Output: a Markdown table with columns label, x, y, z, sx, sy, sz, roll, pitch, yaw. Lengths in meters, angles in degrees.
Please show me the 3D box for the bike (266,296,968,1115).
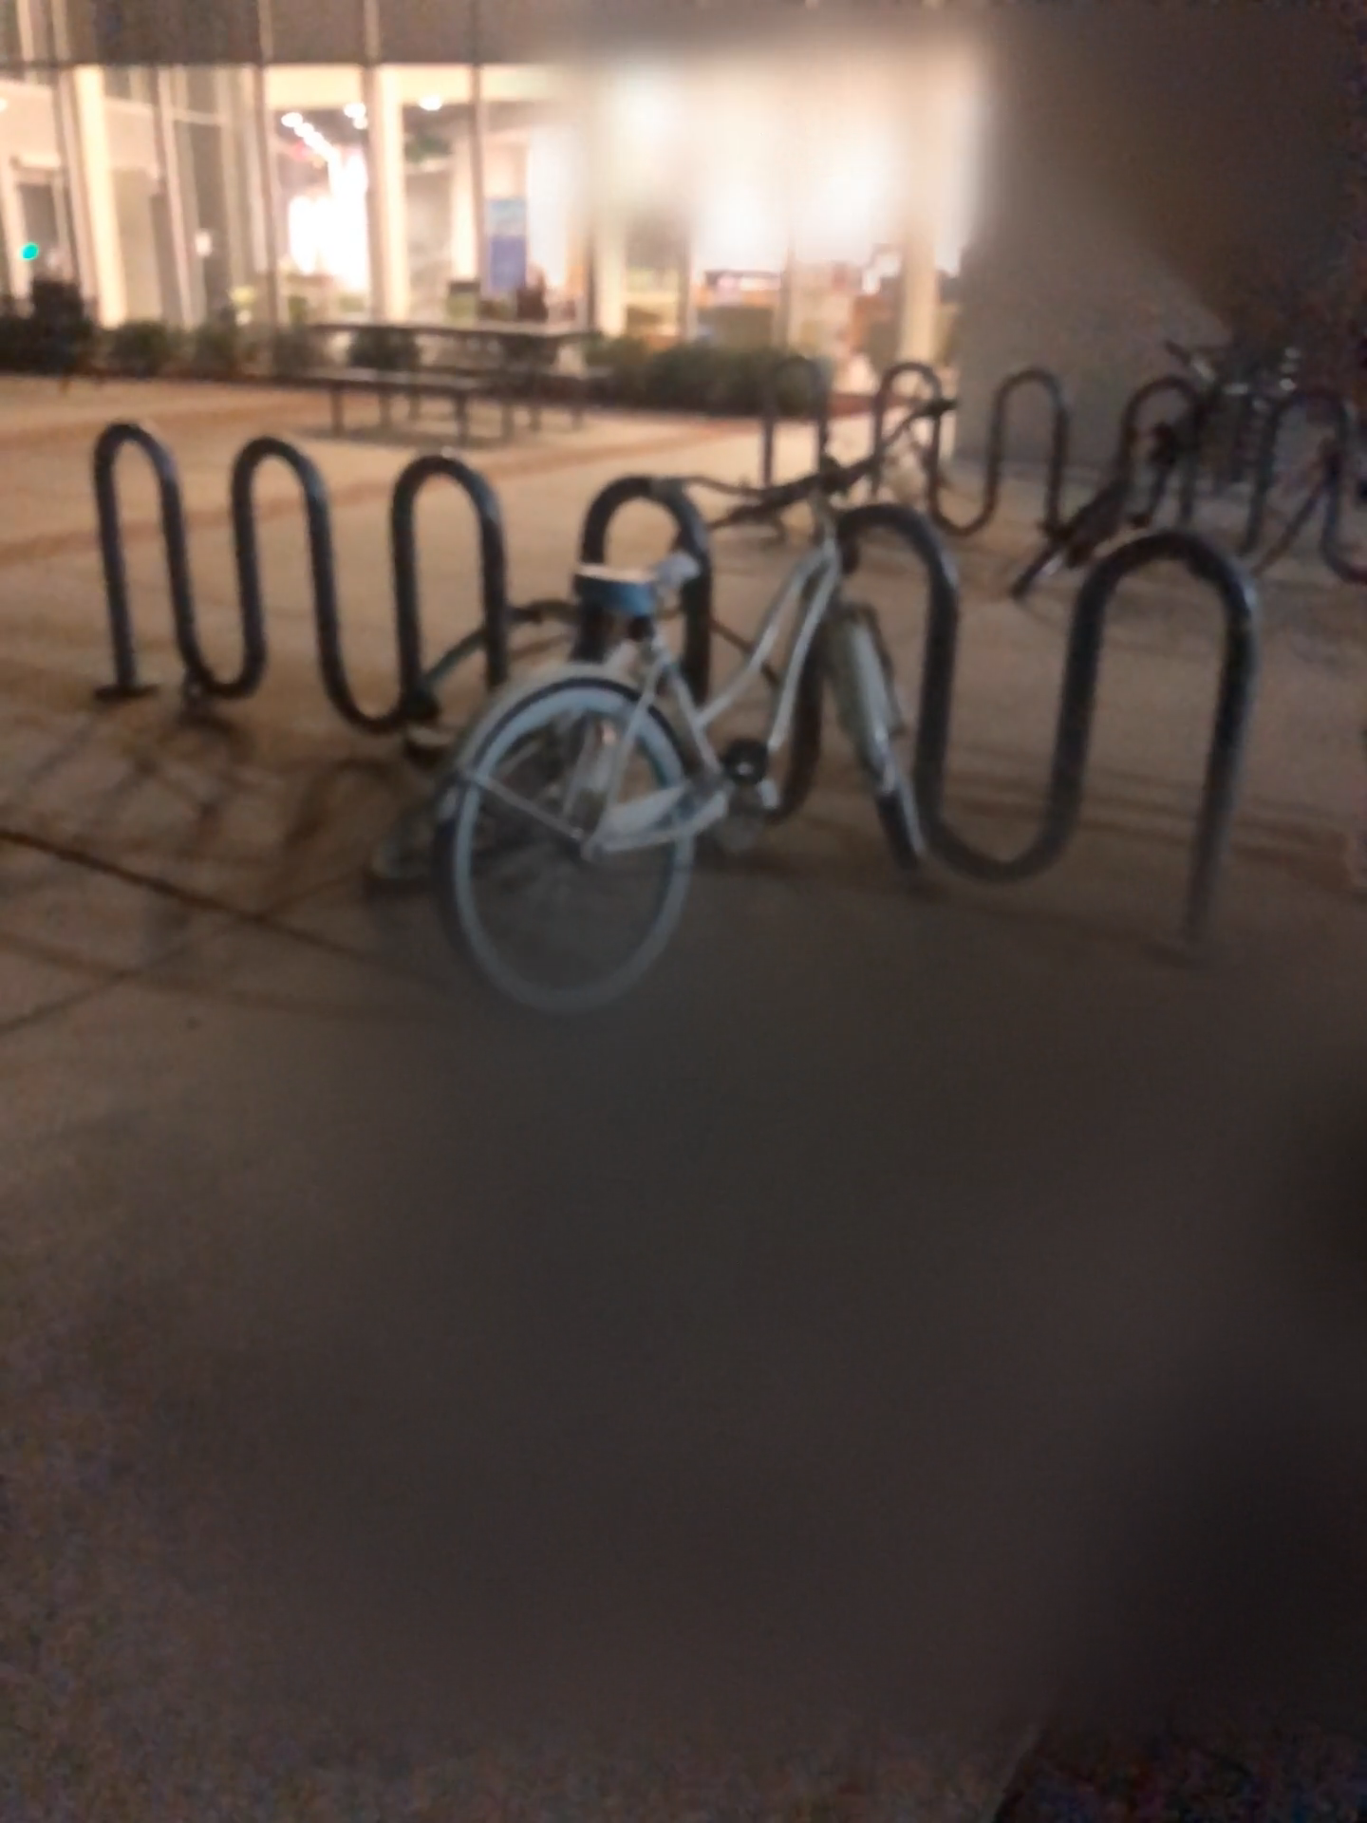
| label | x | y | z | sx | sy | sz | roll | pitch | yaw |
| --- | --- | --- | --- | --- | --- | --- | --- | --- | --- |
| bike | -0.048 | -0.623 | 3.256 | 0.740 | 1.095 | 1.686 | 14 | 30 | 29 |
